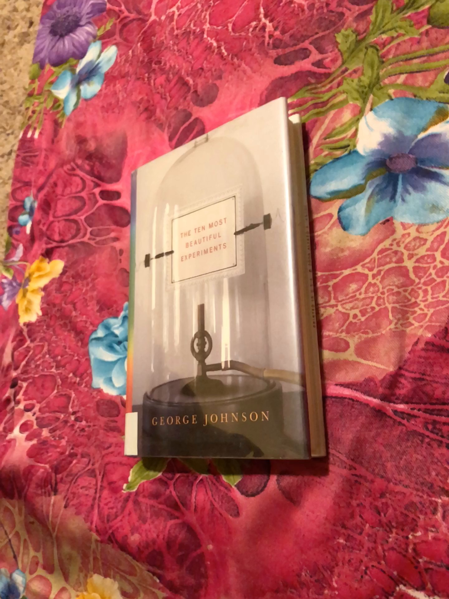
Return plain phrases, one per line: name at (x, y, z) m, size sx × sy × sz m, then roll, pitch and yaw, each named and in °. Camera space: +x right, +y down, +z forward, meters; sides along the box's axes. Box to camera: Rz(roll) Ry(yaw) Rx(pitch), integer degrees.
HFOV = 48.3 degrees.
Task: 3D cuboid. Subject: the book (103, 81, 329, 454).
book at (-0.013, -0.010, 0.308) m, size 0.141 × 0.030 × 0.200 m, roll -14°, pitch 70°, yaw 37°
